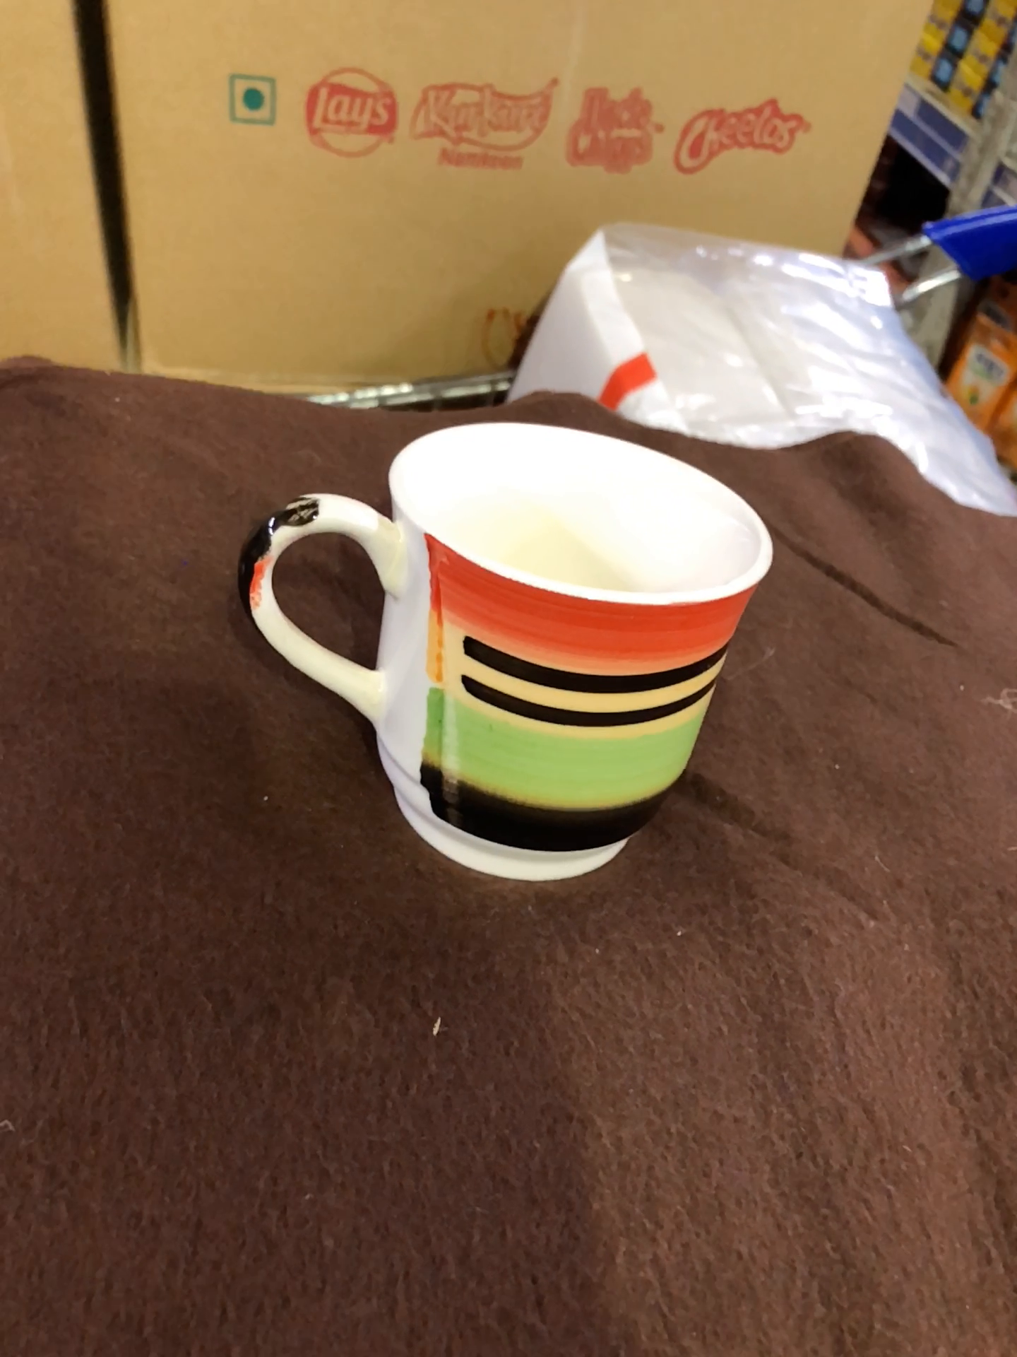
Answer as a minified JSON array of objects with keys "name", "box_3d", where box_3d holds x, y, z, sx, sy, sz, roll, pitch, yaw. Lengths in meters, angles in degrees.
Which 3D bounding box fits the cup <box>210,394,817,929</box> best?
[{"name":"cup","box_3d":[-0.005,-0.005,0.215,0.090,0.070,0.070,1,34,-9]}]
